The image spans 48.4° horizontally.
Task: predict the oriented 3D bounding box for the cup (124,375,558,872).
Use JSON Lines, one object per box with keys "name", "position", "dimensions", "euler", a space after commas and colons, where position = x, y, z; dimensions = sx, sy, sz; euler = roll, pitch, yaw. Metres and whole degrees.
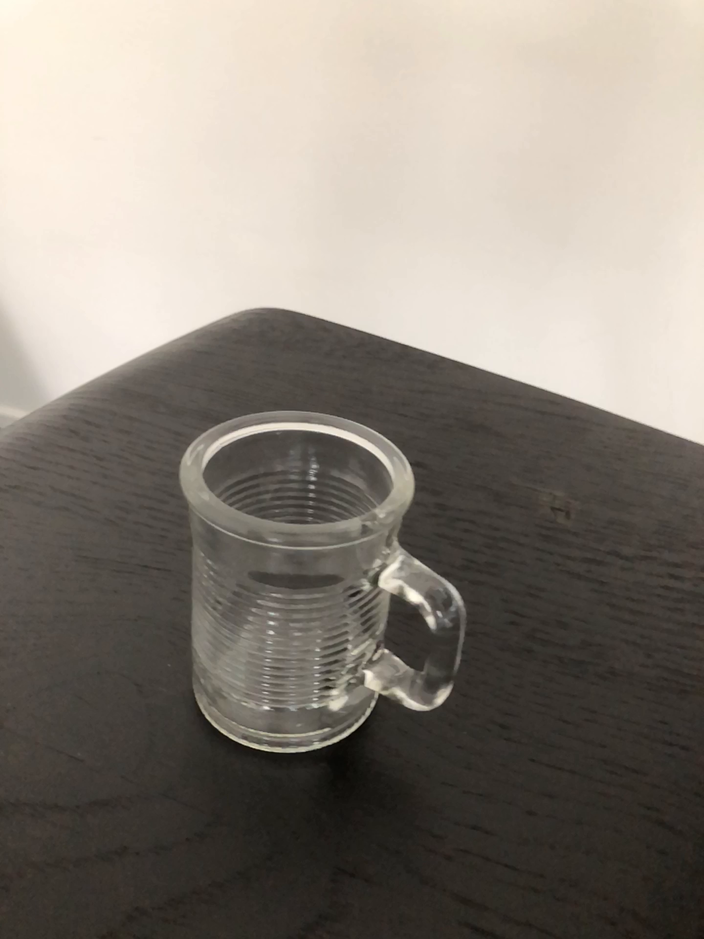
{"name": "cup", "position": [-0.006, 0.035, 0.213], "dimensions": [0.060, 0.080, 0.090], "euler": [-28, 44, -37]}
